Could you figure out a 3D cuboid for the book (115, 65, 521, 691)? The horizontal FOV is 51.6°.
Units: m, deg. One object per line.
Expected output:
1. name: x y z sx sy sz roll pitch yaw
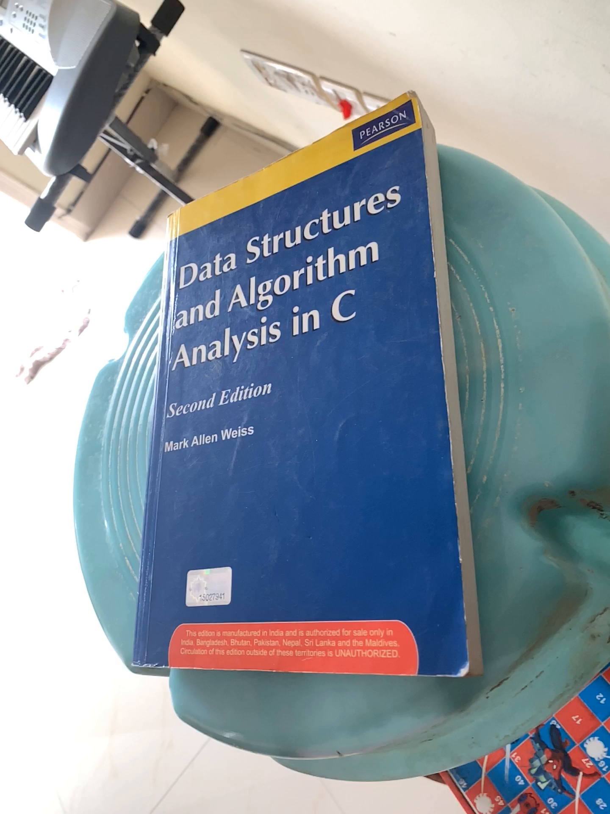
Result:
1. book: -0.006 -0.011 0.277 0.160 0.030 0.241 -13 66 31
